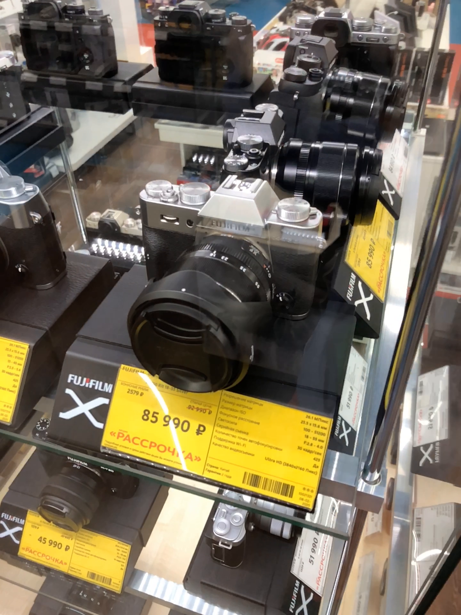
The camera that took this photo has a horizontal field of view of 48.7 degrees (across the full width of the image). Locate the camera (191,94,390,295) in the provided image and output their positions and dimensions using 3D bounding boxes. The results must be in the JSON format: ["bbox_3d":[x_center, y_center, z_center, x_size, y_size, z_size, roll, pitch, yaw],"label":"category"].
[{"bbox_3d":[0.054,-0.099,0.414,0.123,0.088,0.145,11,42,13],"label":"camera"}]

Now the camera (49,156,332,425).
[{"bbox_3d":[-0.014,-0.018,0.311,0.120,0.088,0.121,12,42,14],"label":"camera"}]

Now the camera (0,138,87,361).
[{"bbox_3d":[-0.193,-0.045,0.350,0.135,0.088,0.104,12,43,14],"label":"camera"}]
